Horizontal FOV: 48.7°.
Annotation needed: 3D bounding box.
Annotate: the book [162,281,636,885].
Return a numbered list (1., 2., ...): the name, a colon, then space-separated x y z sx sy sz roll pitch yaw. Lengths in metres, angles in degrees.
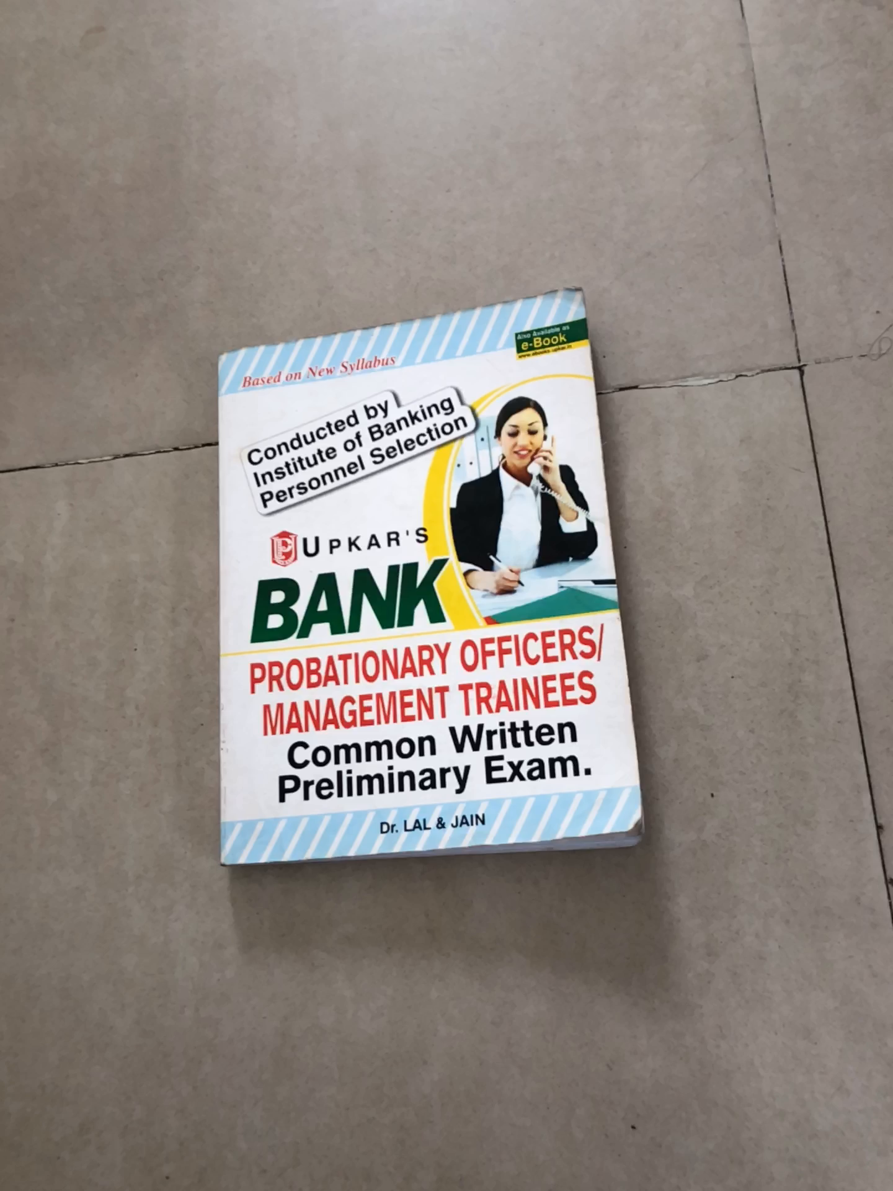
1. book: -0.024 -0.004 0.411 0.180 0.040 0.230 -5 77 10
